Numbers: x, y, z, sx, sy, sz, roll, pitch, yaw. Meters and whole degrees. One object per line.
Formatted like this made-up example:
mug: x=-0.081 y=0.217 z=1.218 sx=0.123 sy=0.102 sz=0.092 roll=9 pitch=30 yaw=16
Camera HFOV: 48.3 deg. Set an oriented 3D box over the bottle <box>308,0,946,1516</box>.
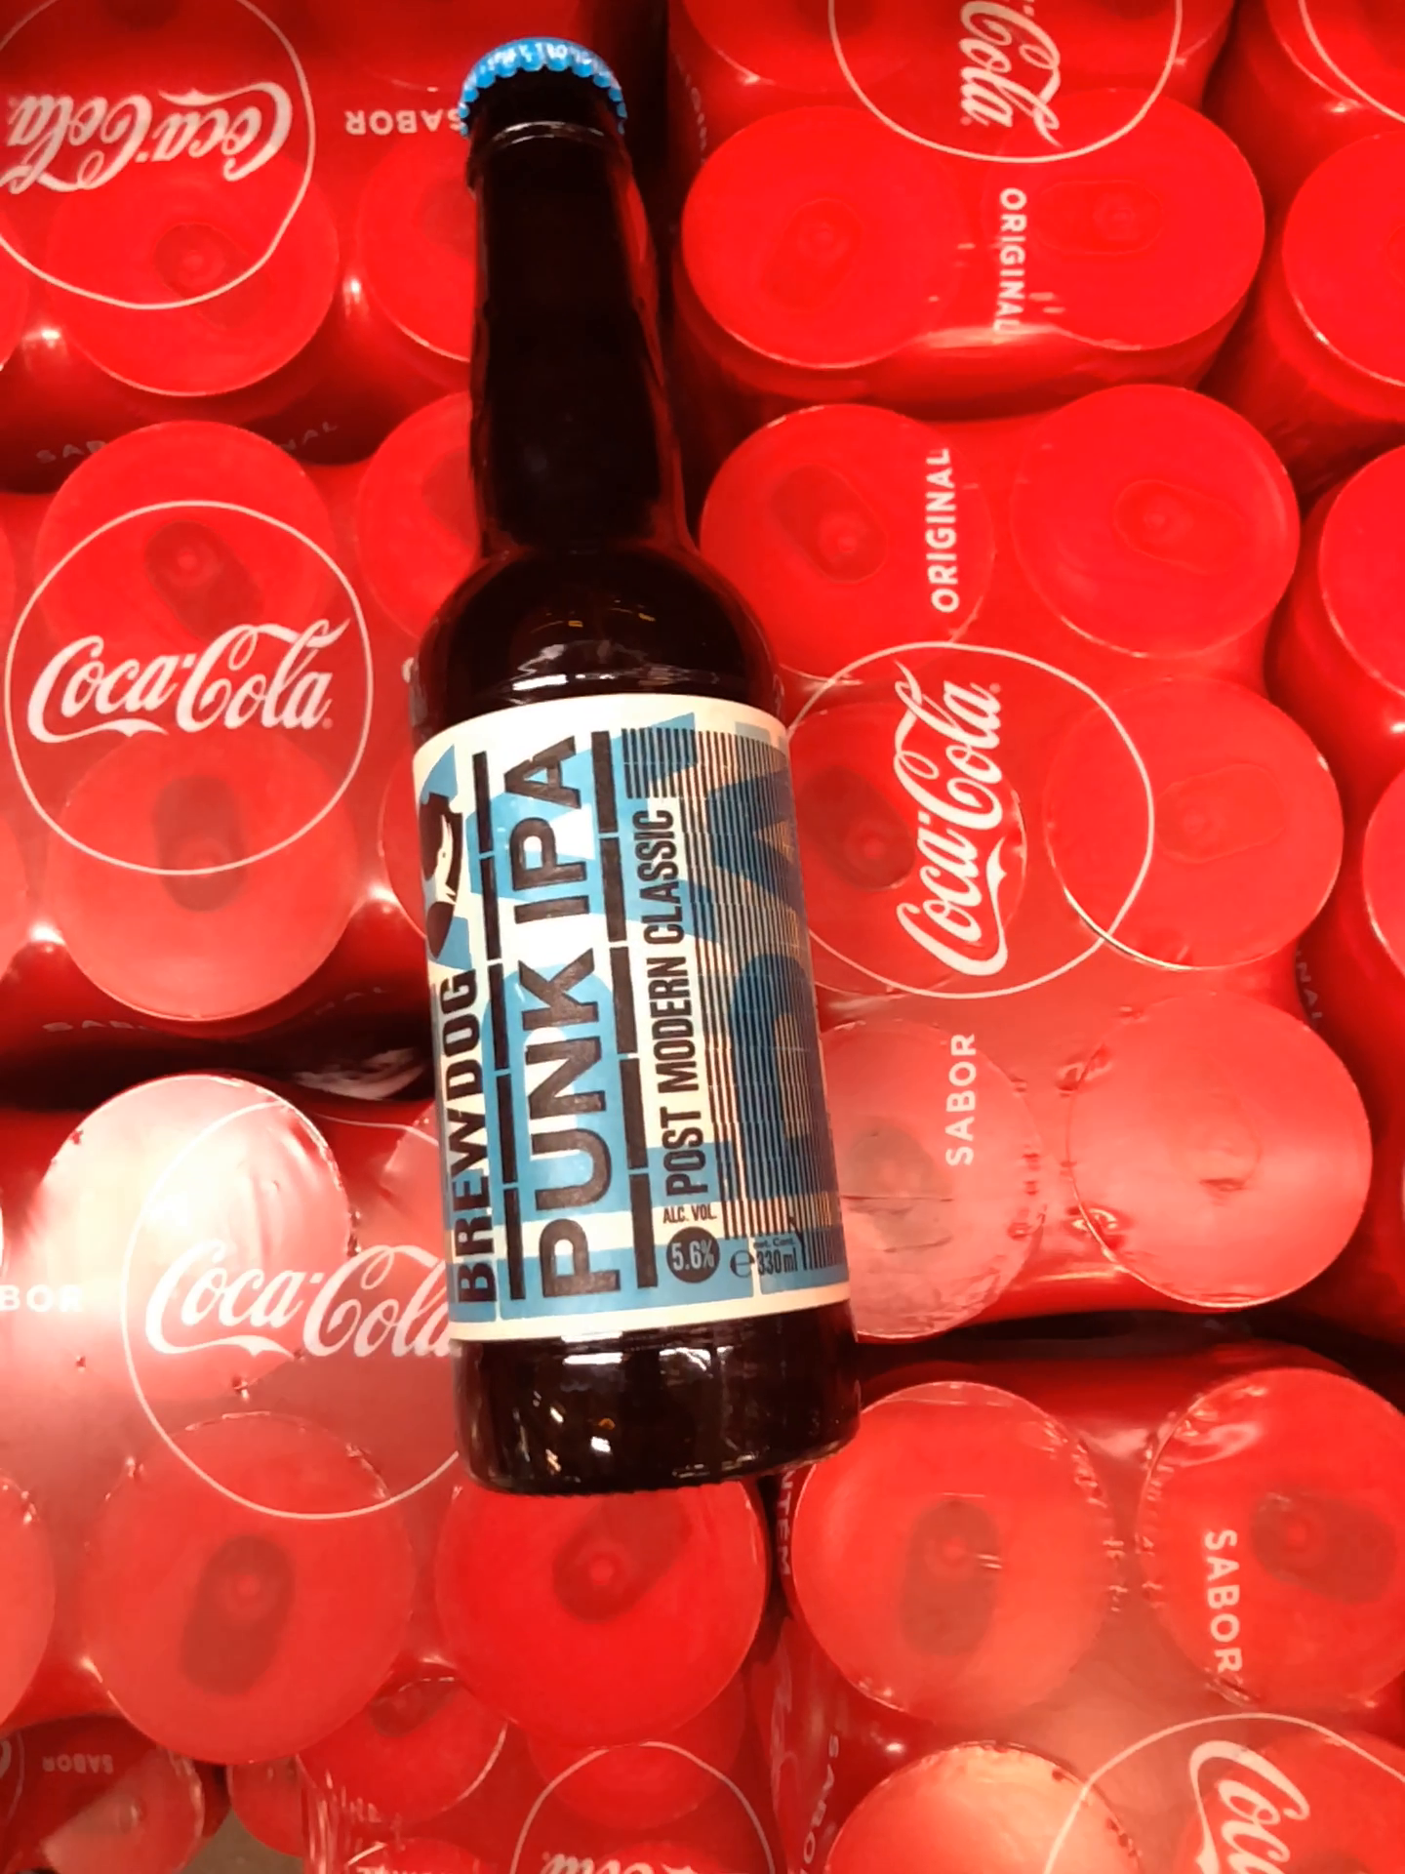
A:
bottle: x=-0.014 y=-0.044 z=0.230 sx=0.060 sy=0.060 sz=0.230 roll=-6 pitch=81 yaw=-2
